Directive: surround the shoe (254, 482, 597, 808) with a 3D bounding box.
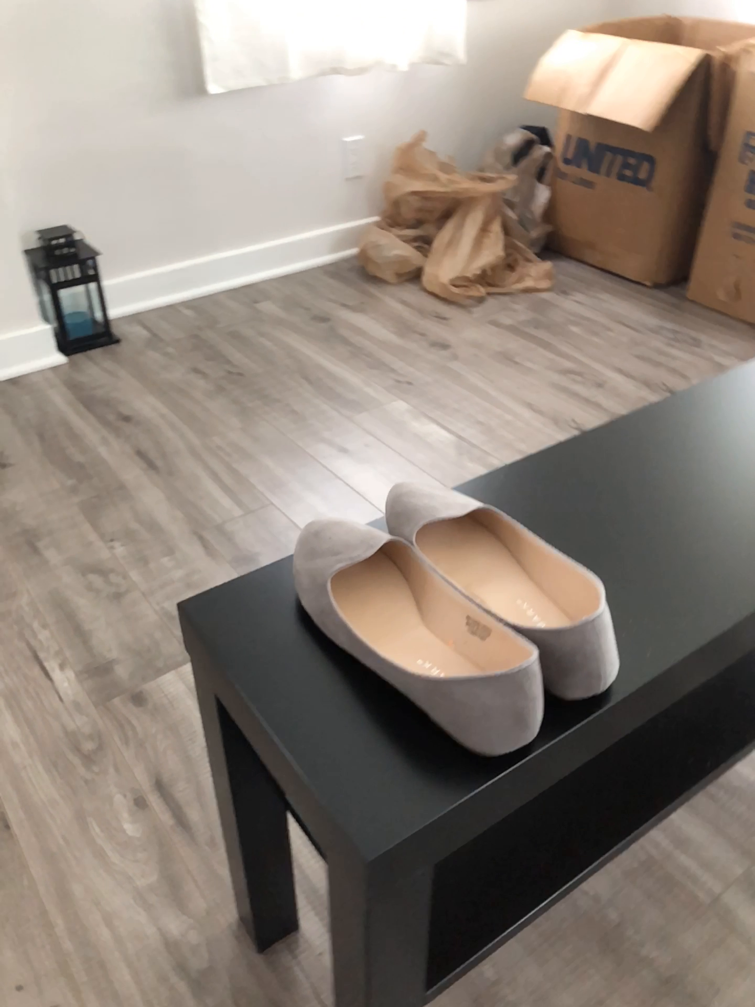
[{"bbox_3d":[0.021,0.082,0.588,0.100,0.060,0.251,-23,41,-29],"label":"shoe"}]

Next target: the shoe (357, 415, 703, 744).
[{"bbox_3d":[0.094,0.039,0.615,0.100,0.090,0.254,-20,40,-26],"label":"shoe"}]
